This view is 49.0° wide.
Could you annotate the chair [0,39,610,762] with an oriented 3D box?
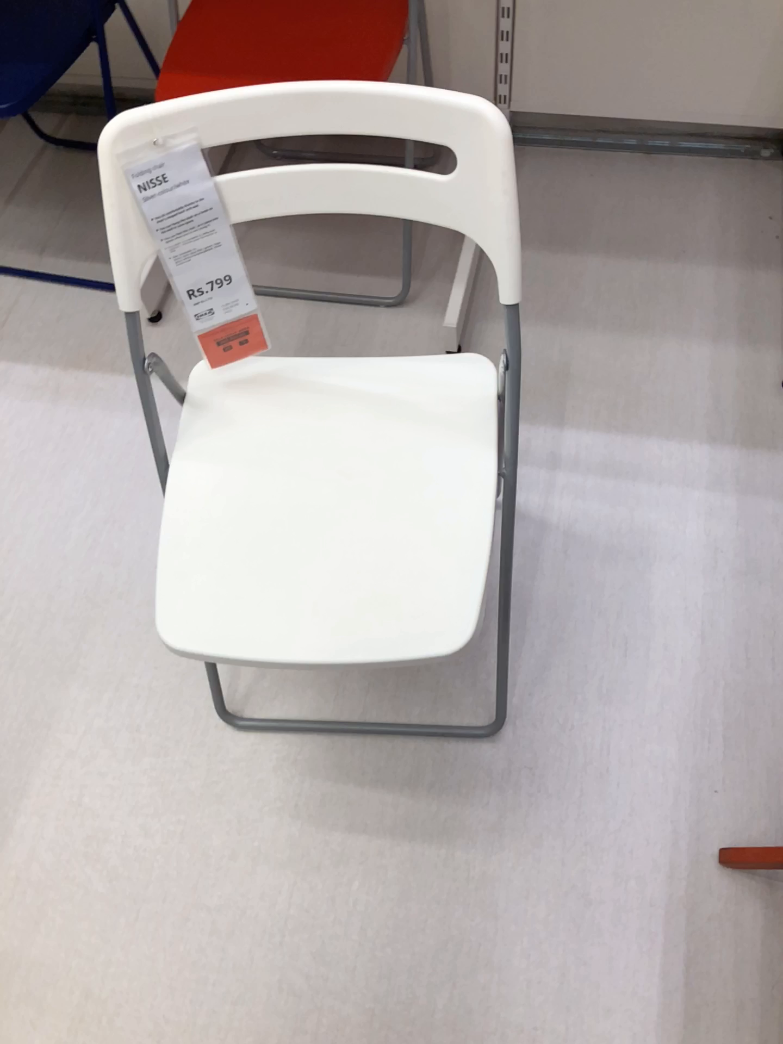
[{"bbox_3d":[-0.061,-0.076,1.023,0.500,0.667,0.542,0,61,5],"label":"chair"}]
